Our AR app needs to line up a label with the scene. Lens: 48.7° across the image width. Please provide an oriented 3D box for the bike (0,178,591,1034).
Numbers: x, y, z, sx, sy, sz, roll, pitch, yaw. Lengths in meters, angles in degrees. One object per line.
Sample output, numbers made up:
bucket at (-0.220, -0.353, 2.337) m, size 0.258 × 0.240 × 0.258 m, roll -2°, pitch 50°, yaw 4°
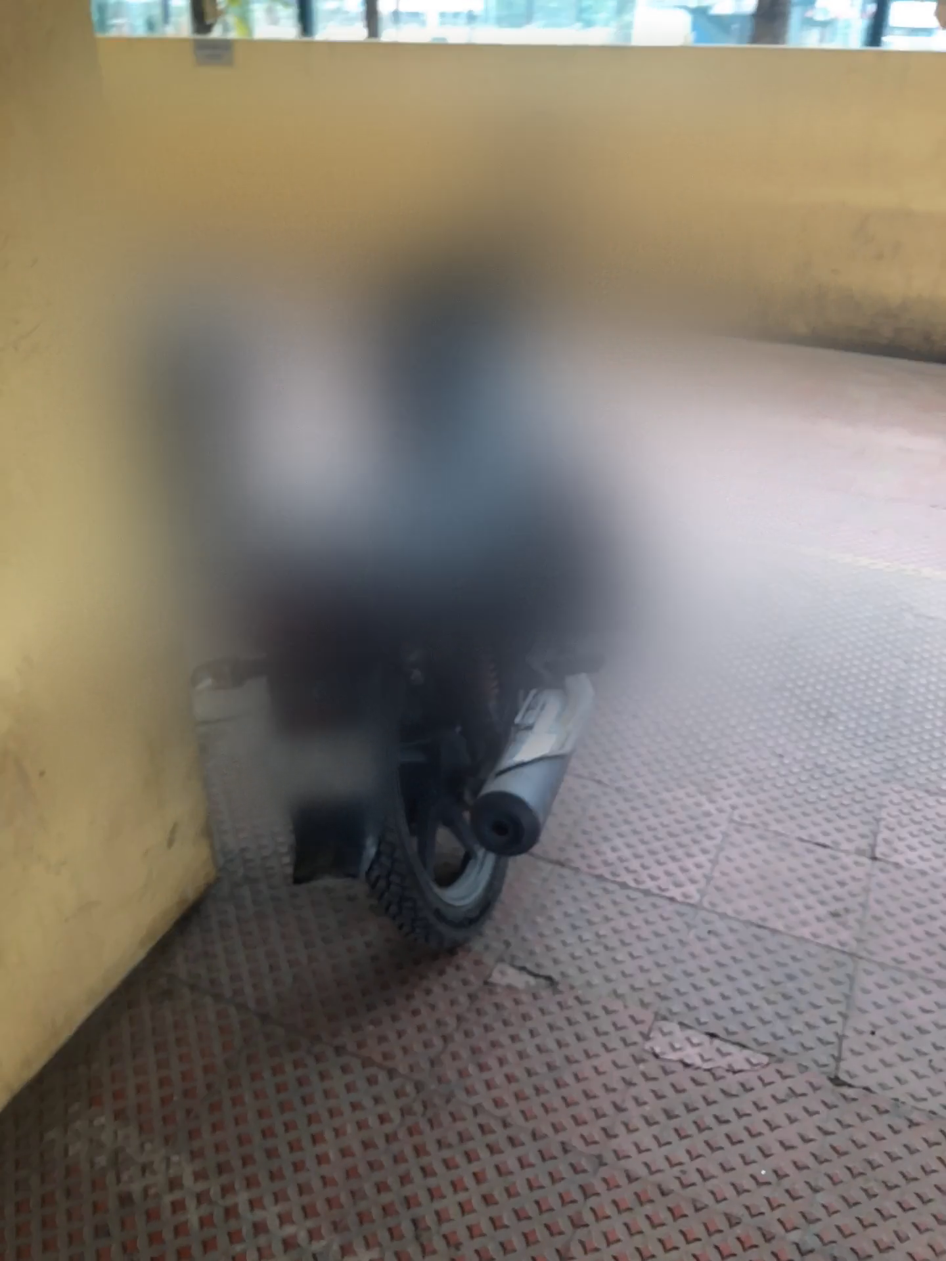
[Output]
bike at (-0.179, -0.225, 2.226) m, size 0.720 × 1.166 × 1.476 m, roll 5°, pitch 30°, yaw 8°
